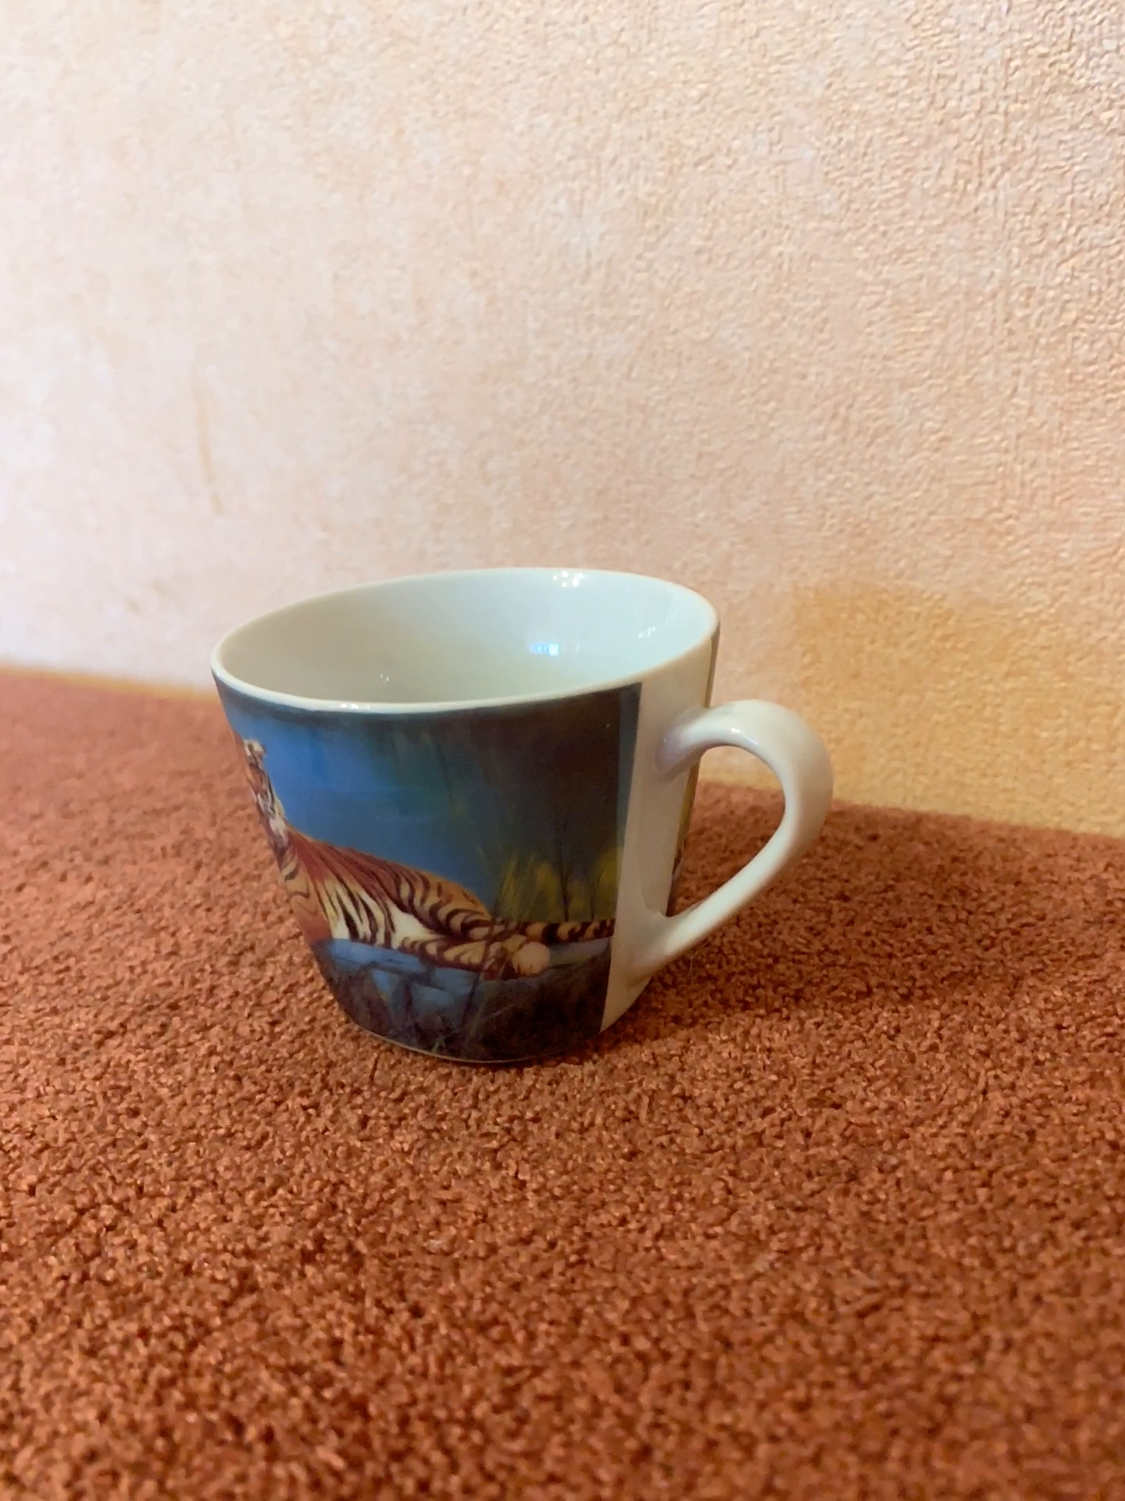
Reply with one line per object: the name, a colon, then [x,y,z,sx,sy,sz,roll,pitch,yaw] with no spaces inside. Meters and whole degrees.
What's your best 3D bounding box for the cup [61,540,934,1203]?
cup: [-0.005,0.004,0.156,0.083,0.048,0.072,8,24,36]
